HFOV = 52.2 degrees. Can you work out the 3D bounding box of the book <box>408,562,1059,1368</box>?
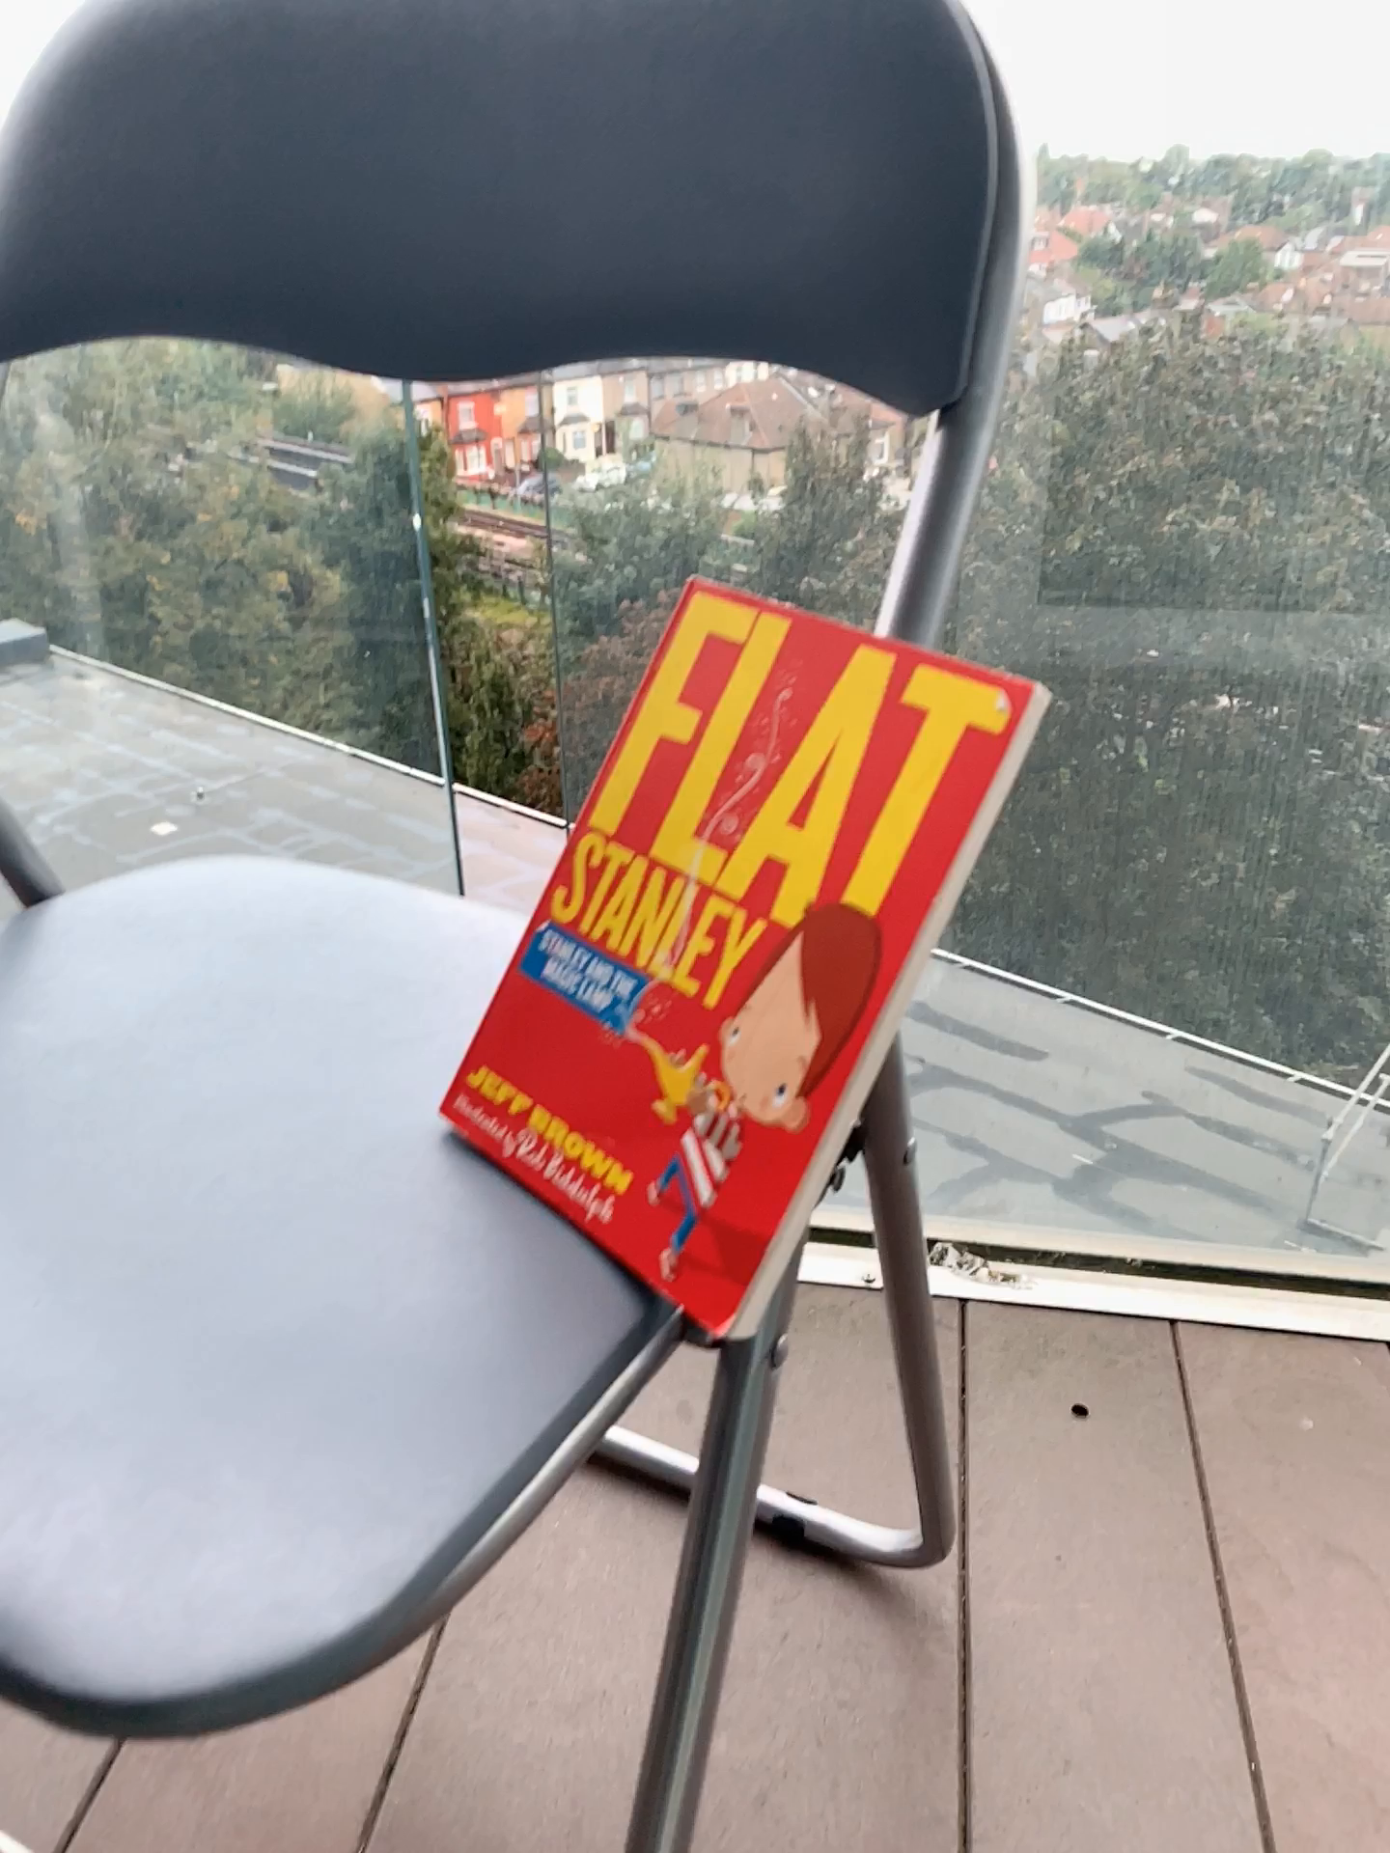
[{"bbox_3d":[0.000,0.001,0.401,0.020,0.190,0.141,22,5,-46],"label":"book"}]
